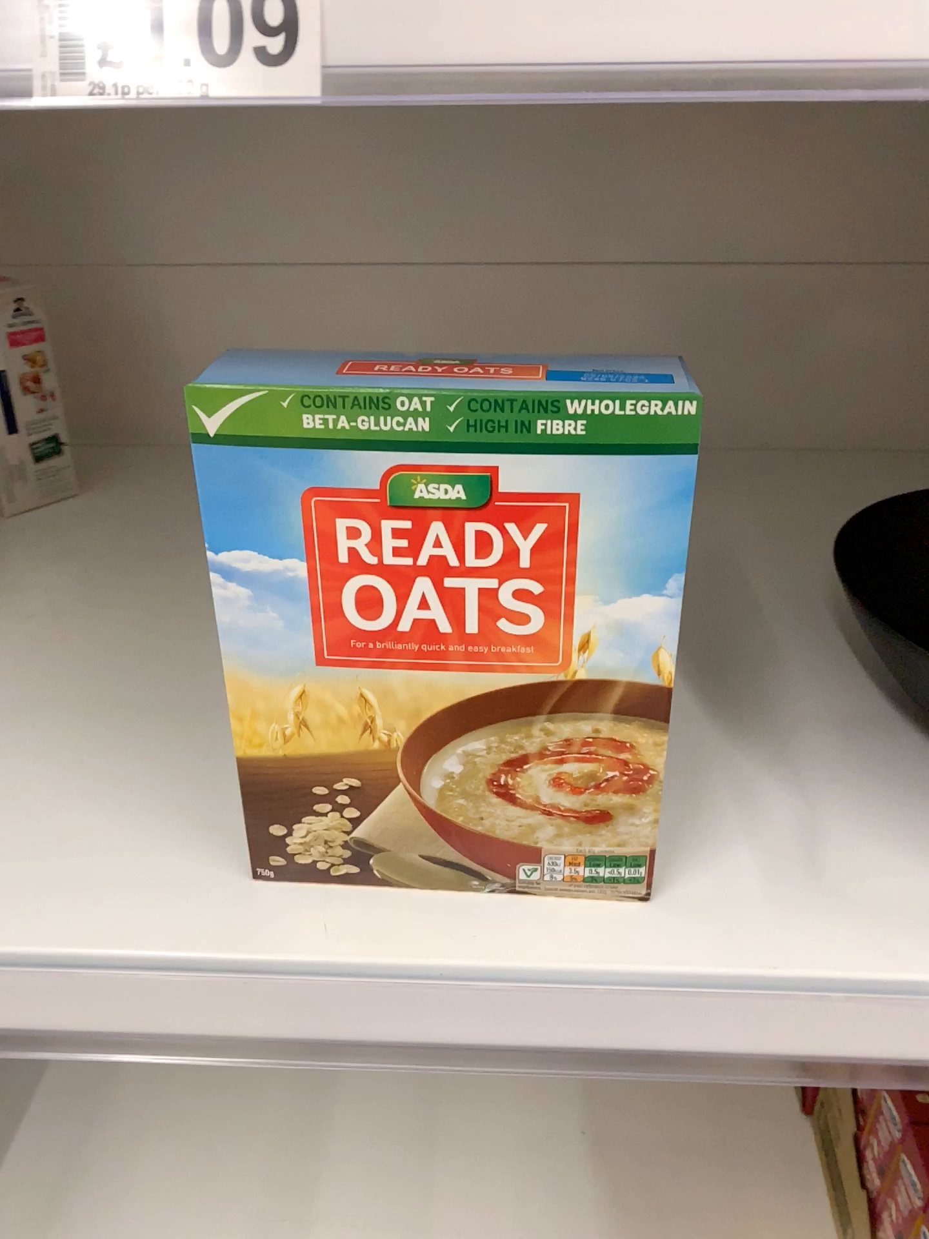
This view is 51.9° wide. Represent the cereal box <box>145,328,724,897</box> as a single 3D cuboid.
[{"bbox_3d":[-0.009,0.002,0.457,0.220,0.258,0.081,1,28,4],"label":"cereal box"}]
